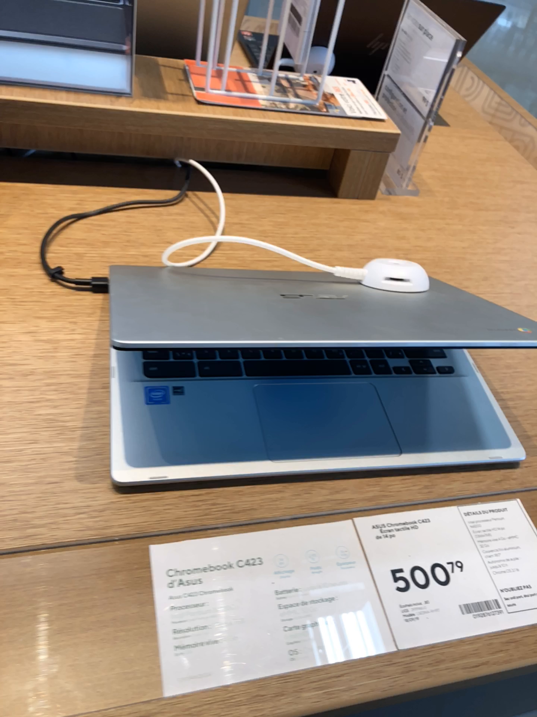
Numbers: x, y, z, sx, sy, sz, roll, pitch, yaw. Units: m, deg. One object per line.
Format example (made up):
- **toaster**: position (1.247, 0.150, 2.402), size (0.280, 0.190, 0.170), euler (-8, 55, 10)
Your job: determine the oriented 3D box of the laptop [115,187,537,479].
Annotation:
- **laptop**: position (0.038, -0.027, 0.467), size (0.304, 0.080, 0.206), euler (0, 48, -17)
